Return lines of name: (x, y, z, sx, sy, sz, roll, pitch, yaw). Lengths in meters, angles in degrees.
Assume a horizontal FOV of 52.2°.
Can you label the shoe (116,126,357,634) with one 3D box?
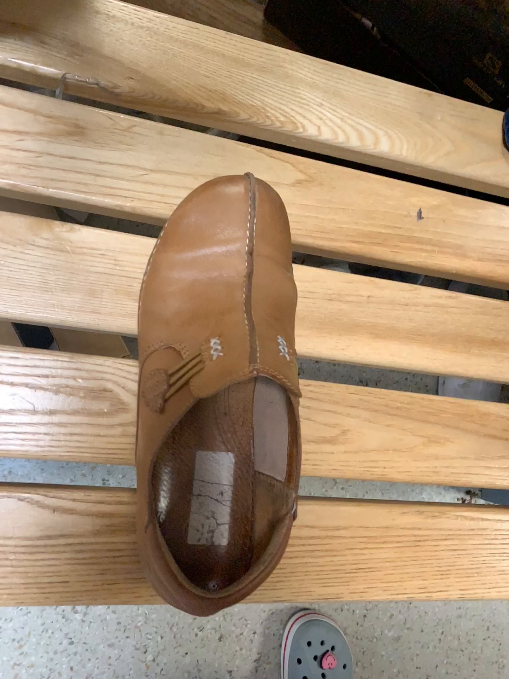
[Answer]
shoe: (-0.013, 0.021, 0.307, 0.111, 0.085, 0.245, 5, 82, -16)
